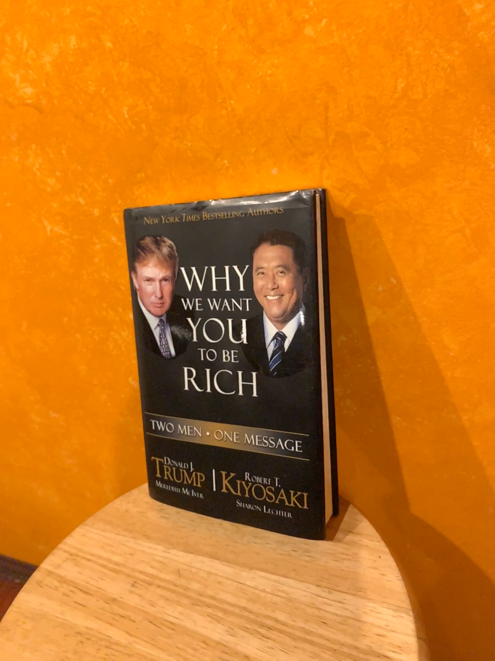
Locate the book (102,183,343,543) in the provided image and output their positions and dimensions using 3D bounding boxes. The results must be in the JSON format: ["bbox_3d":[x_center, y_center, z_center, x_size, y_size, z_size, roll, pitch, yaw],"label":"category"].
[{"bbox_3d":[-0.018,0.018,0.349,0.151,0.210,0.044,2,11,31],"label":"book"}]
